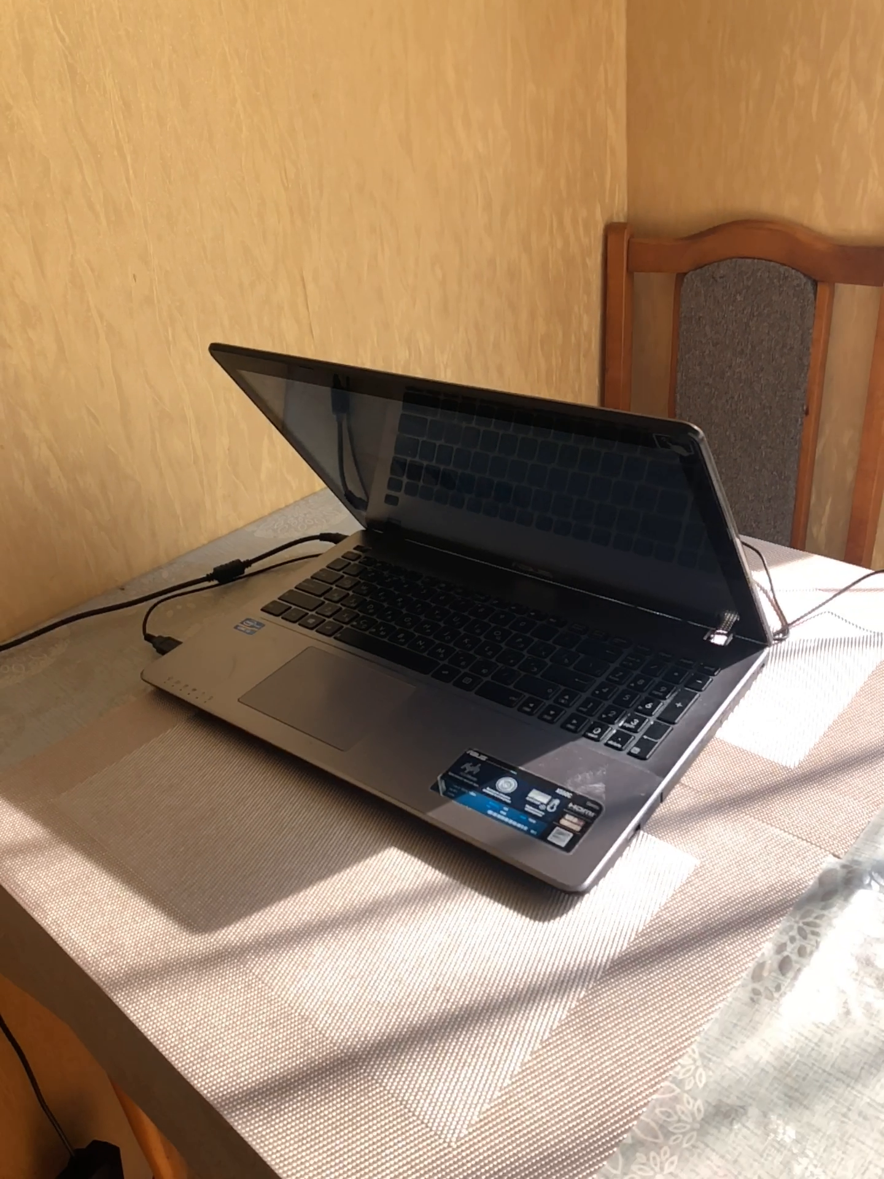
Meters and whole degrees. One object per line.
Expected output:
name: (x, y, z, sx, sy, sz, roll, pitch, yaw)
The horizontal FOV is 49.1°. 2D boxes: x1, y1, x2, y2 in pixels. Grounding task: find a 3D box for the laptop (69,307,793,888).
laptop: (-0.007, -0.034, 0.630, 0.364, 0.197, 0.241, 18, 39, 35)
